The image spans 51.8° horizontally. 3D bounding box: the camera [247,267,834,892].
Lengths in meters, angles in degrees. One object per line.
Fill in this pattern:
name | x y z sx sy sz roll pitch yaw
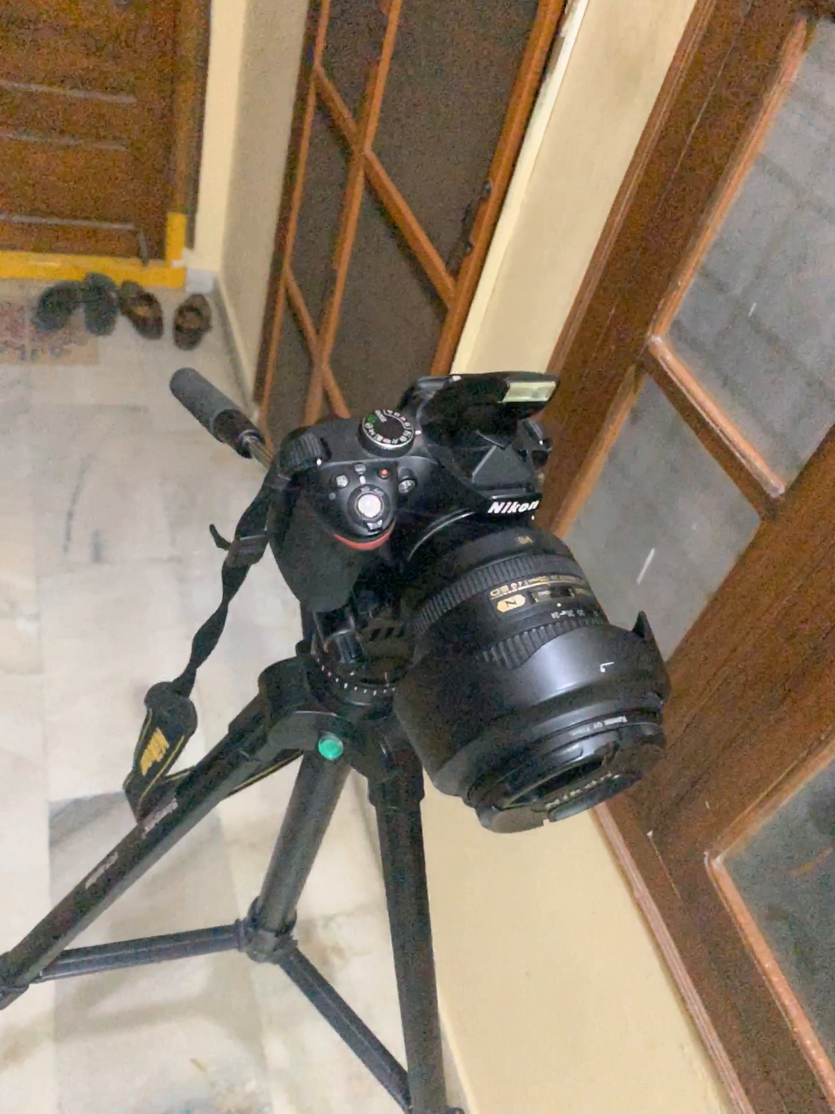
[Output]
camera | 0.035 -0.005 0.352 0.150 0.129 0.200 -6 49 -25
